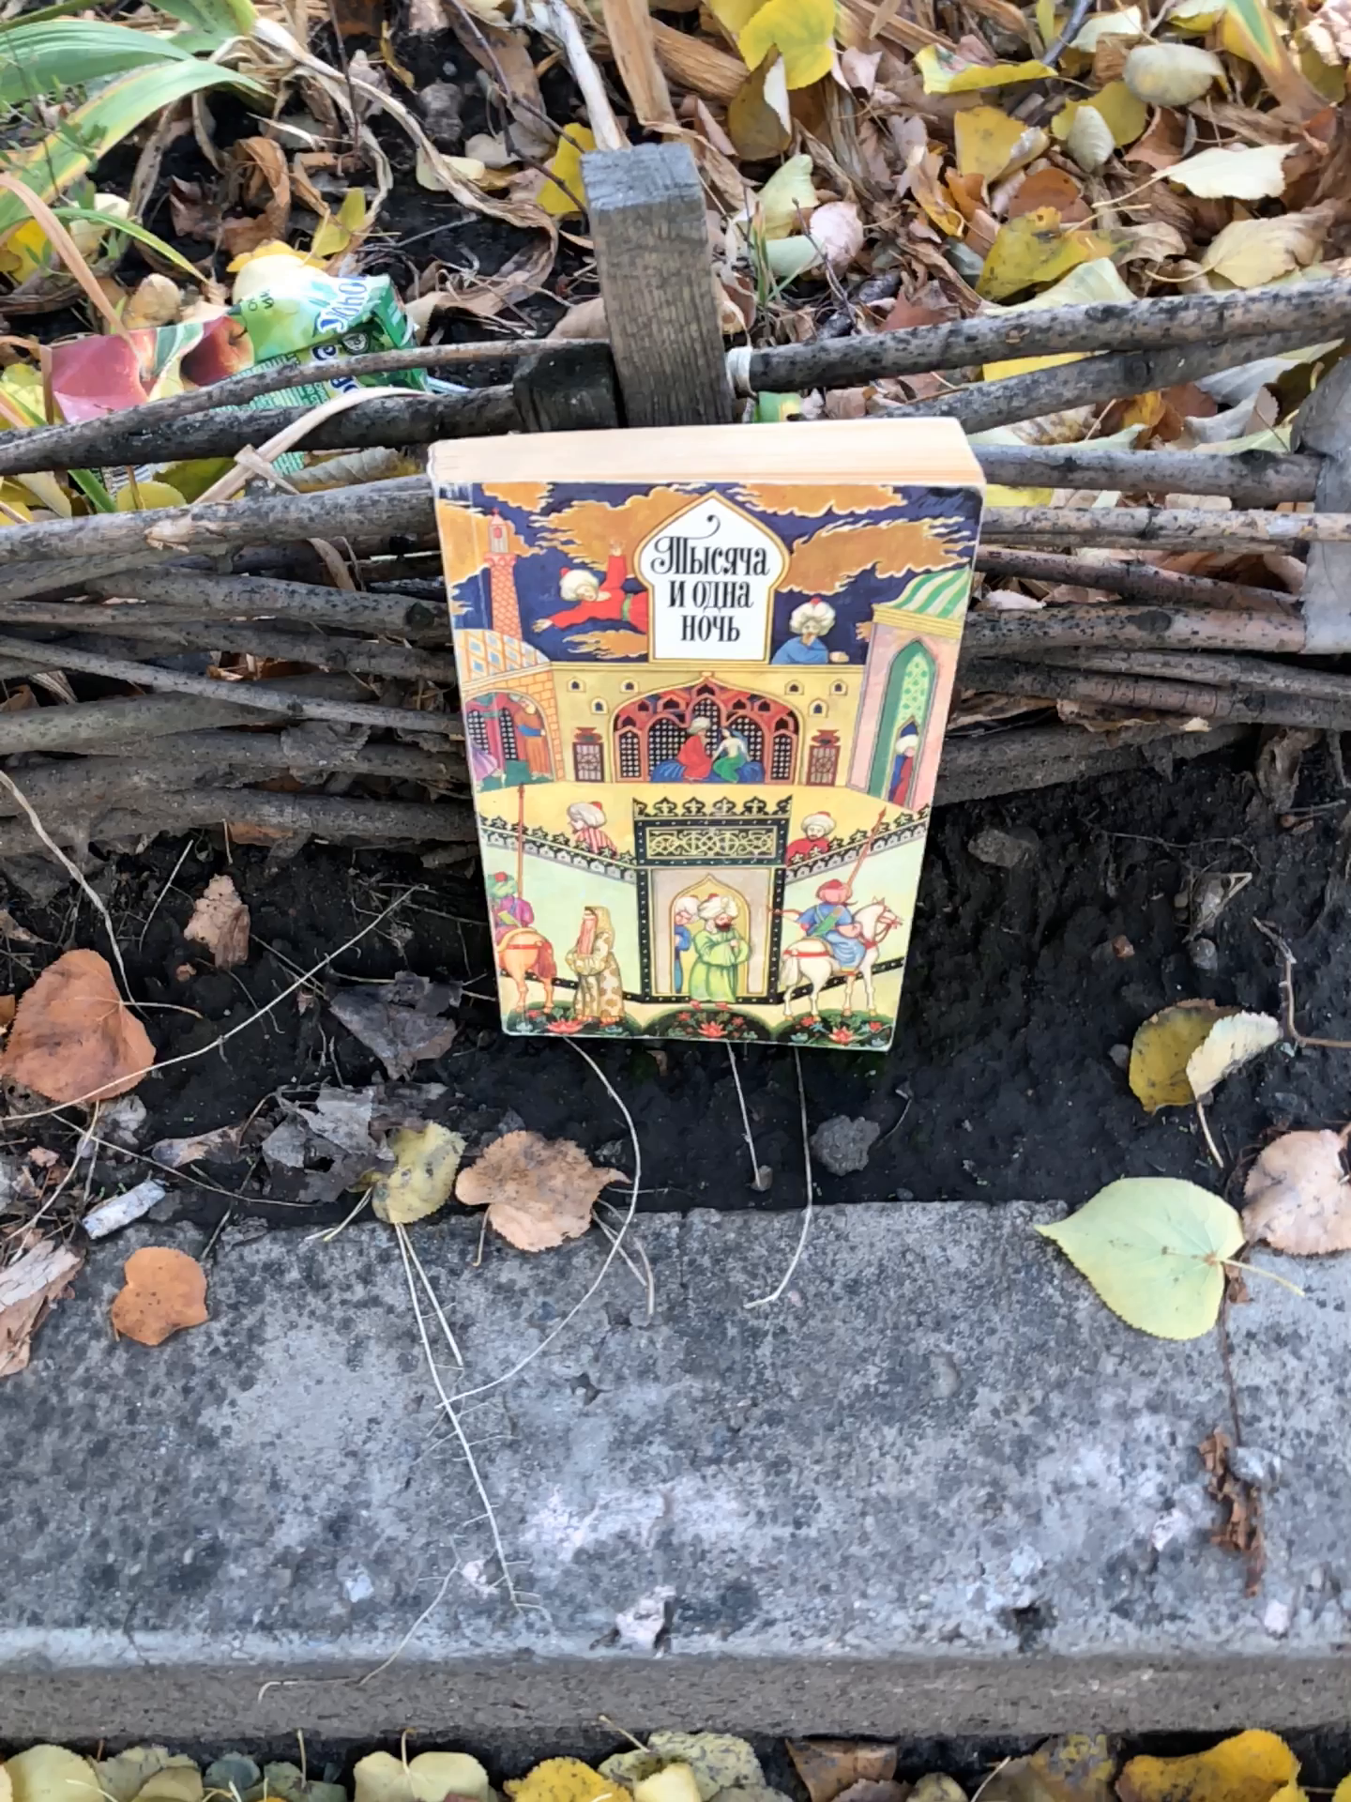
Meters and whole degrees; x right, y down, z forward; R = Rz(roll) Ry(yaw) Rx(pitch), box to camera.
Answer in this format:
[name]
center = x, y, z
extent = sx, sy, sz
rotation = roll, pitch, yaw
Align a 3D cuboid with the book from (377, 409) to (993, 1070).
[book]
center = 0.006, -0.029, 0.369
extent = 0.122, 0.182, 0.029
rotation = 2, 45, 6
